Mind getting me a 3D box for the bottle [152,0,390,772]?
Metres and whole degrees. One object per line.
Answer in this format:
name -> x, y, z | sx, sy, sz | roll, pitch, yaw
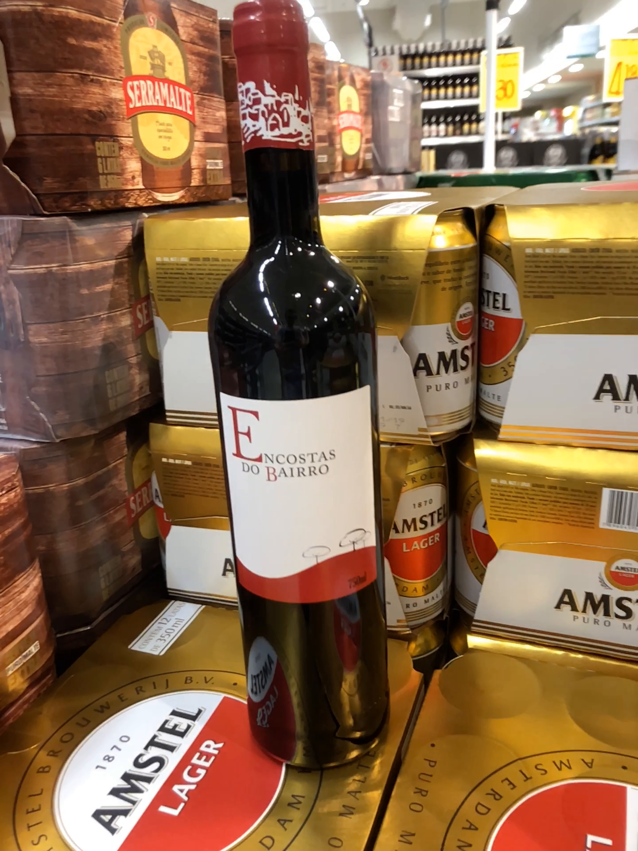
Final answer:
bottle -> -0.007, -0.006, 0.302 | 0.070, 0.318, 0.070 | -3, 19, 1
